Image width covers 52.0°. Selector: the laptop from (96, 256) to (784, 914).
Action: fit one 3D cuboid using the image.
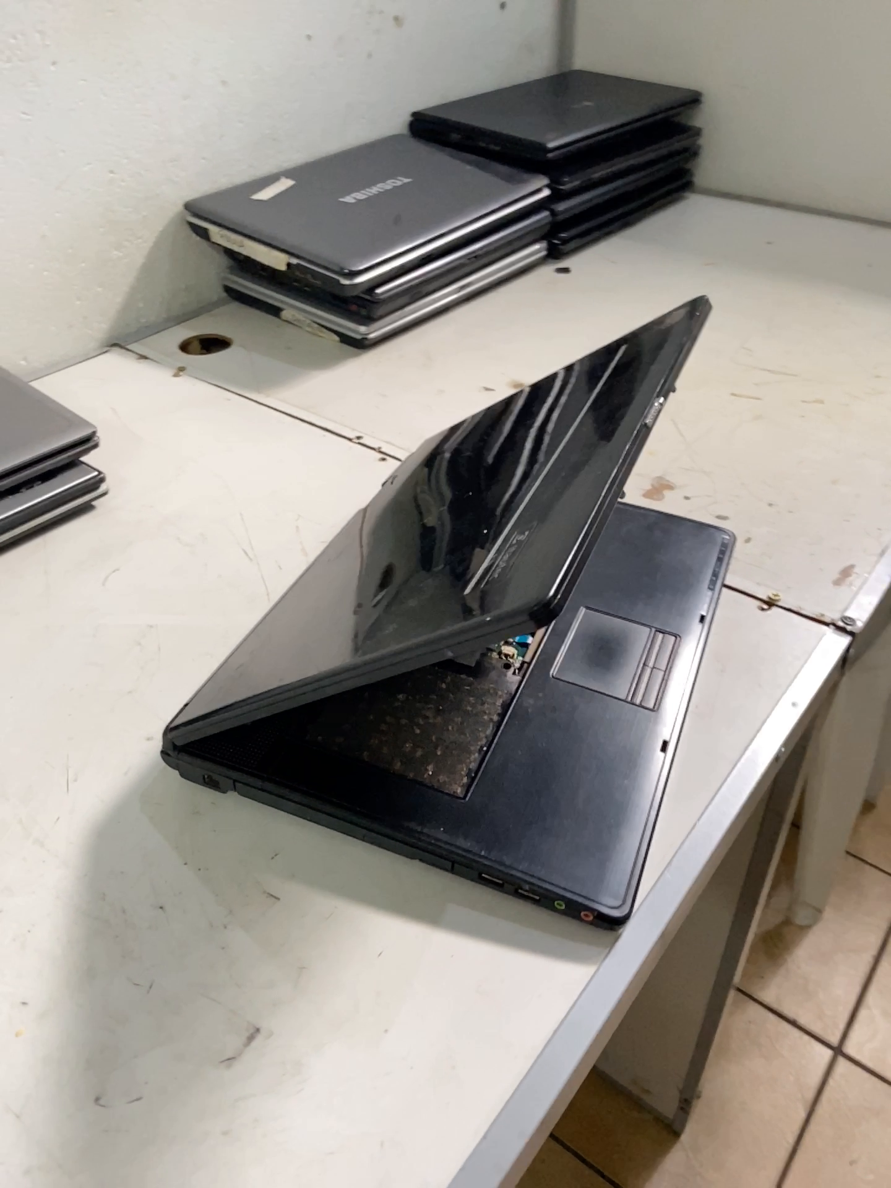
[{"bbox_3d":[0.032,-0.046,0.549,0.260,0.164,0.350,15,41,17],"label":"laptop"}]
